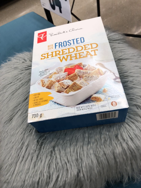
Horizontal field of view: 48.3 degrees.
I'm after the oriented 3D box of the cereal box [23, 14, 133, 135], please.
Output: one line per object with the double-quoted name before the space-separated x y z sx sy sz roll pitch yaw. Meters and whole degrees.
"cereal box" 0.003 -0.070 0.400 0.200 0.070 0.311 -8 55 3
